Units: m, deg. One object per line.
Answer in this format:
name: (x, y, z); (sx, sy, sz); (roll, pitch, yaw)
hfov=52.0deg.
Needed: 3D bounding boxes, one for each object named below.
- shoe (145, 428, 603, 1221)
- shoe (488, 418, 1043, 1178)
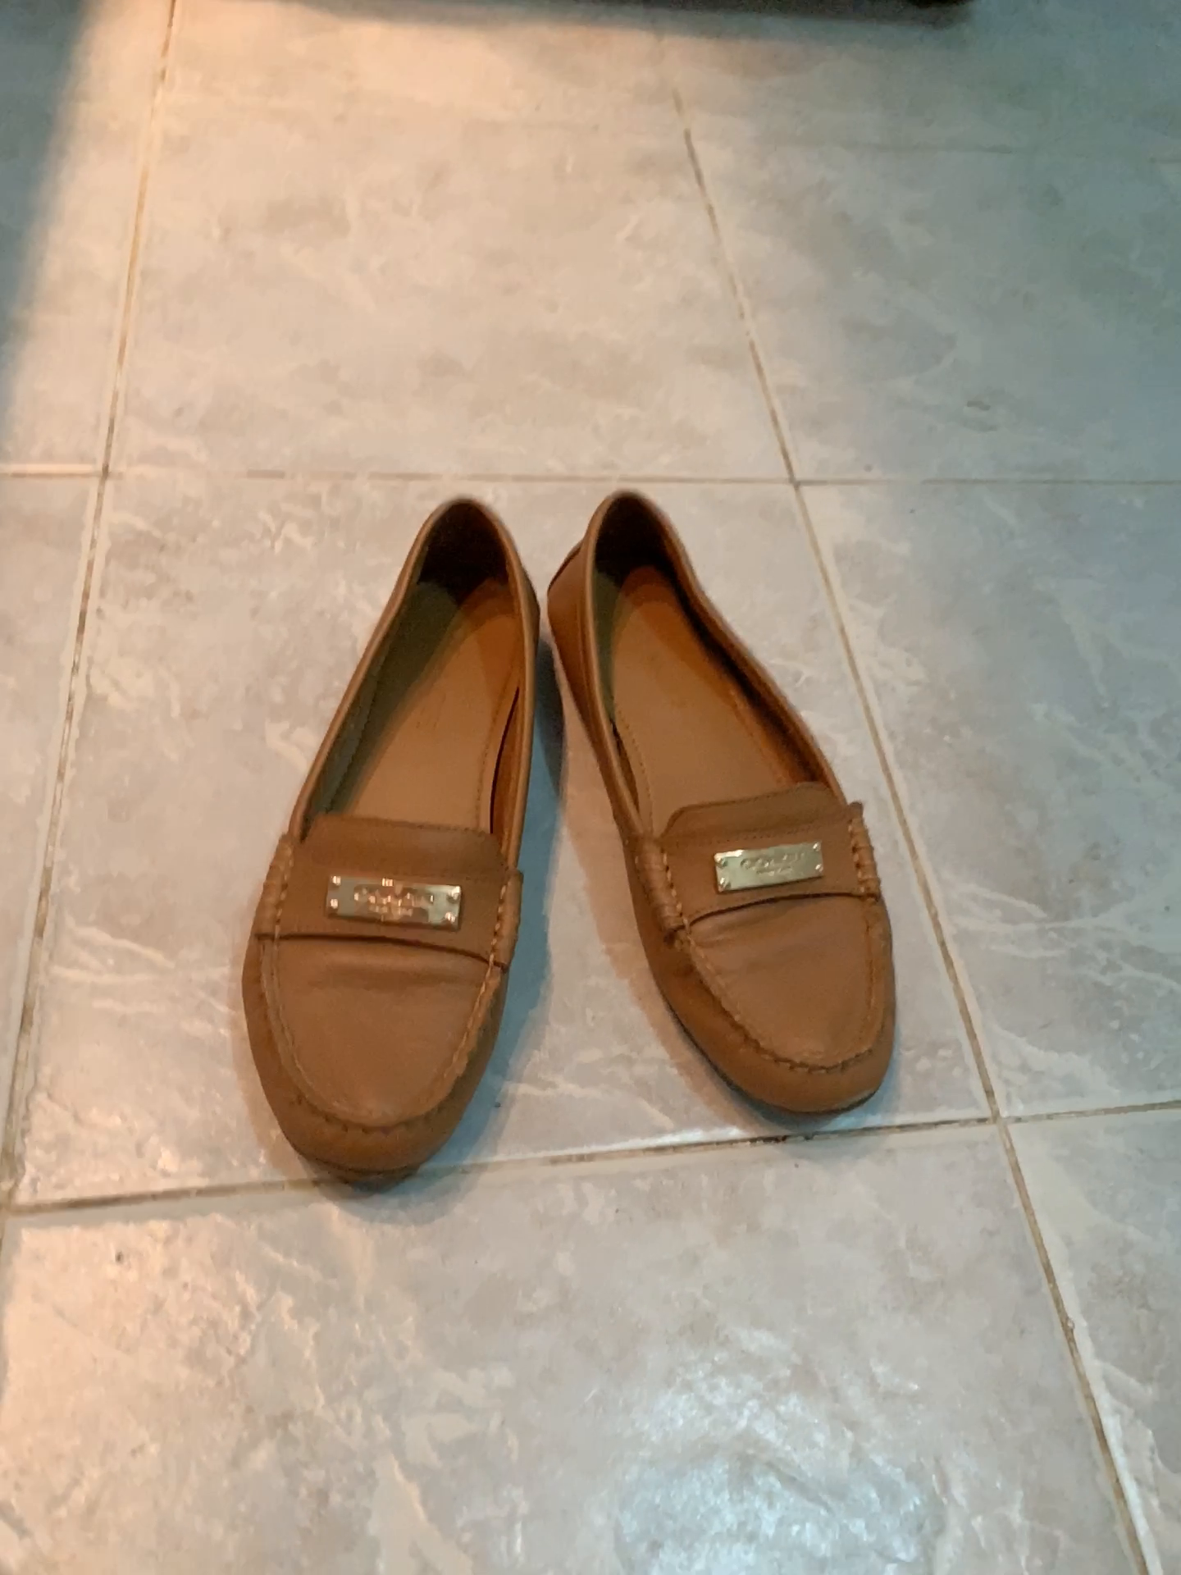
shoe: (-0.055, -0.001, 0.387); (0.083, 0.071, 0.244); (9, 55, -2)
shoe: (0.040, -0.010, 0.403); (0.085, 0.071, 0.243); (-11, 58, -15)
